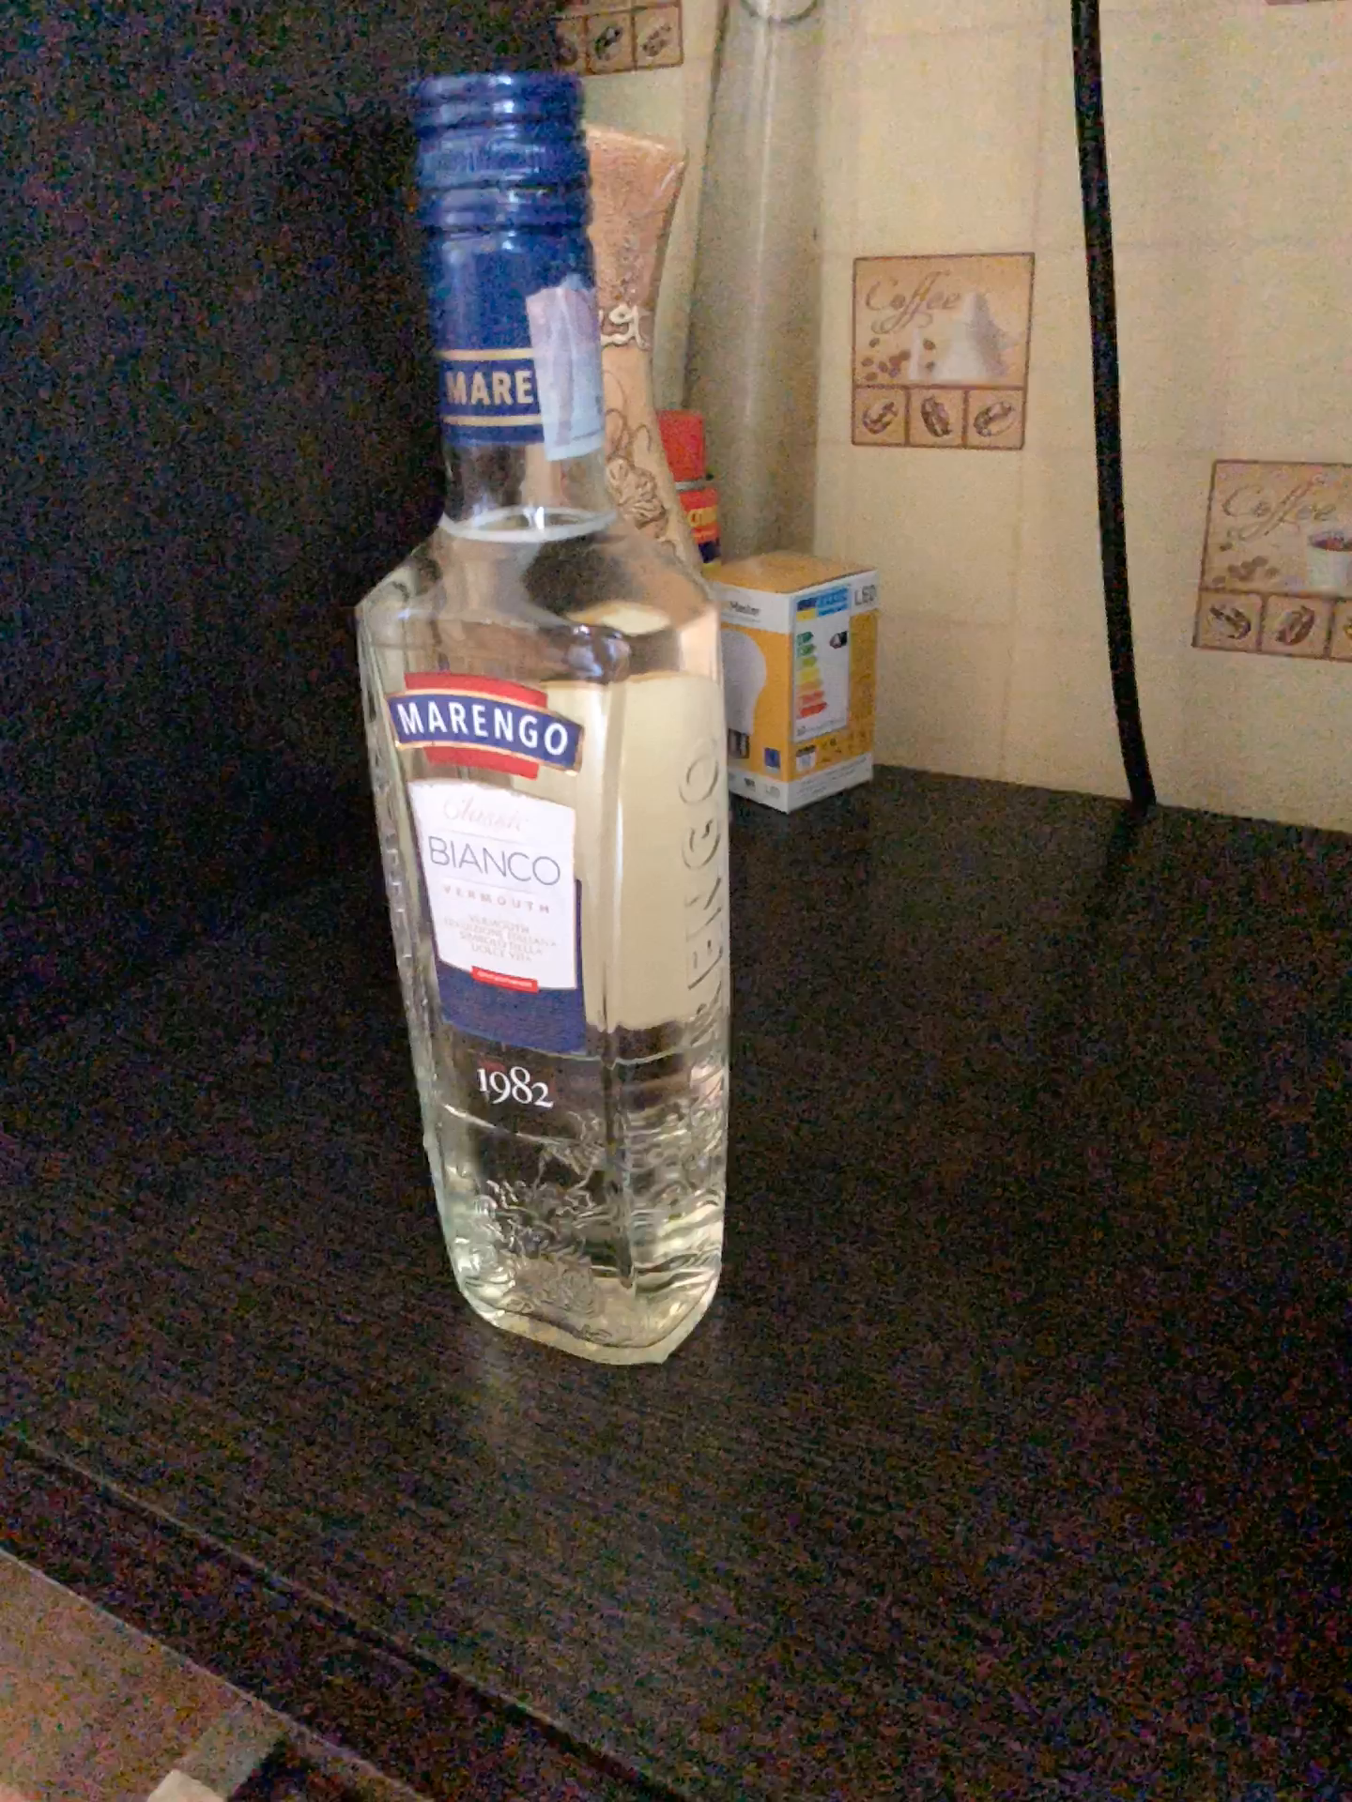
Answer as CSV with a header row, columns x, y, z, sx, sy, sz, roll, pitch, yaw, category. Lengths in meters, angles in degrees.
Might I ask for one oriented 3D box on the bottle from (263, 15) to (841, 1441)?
x,y,z,sx,sy,sz,roll,pitch,yaw,category
-0.017,-0.020,0.309,0.090,0.289,0.050,11,29,27,bottle
